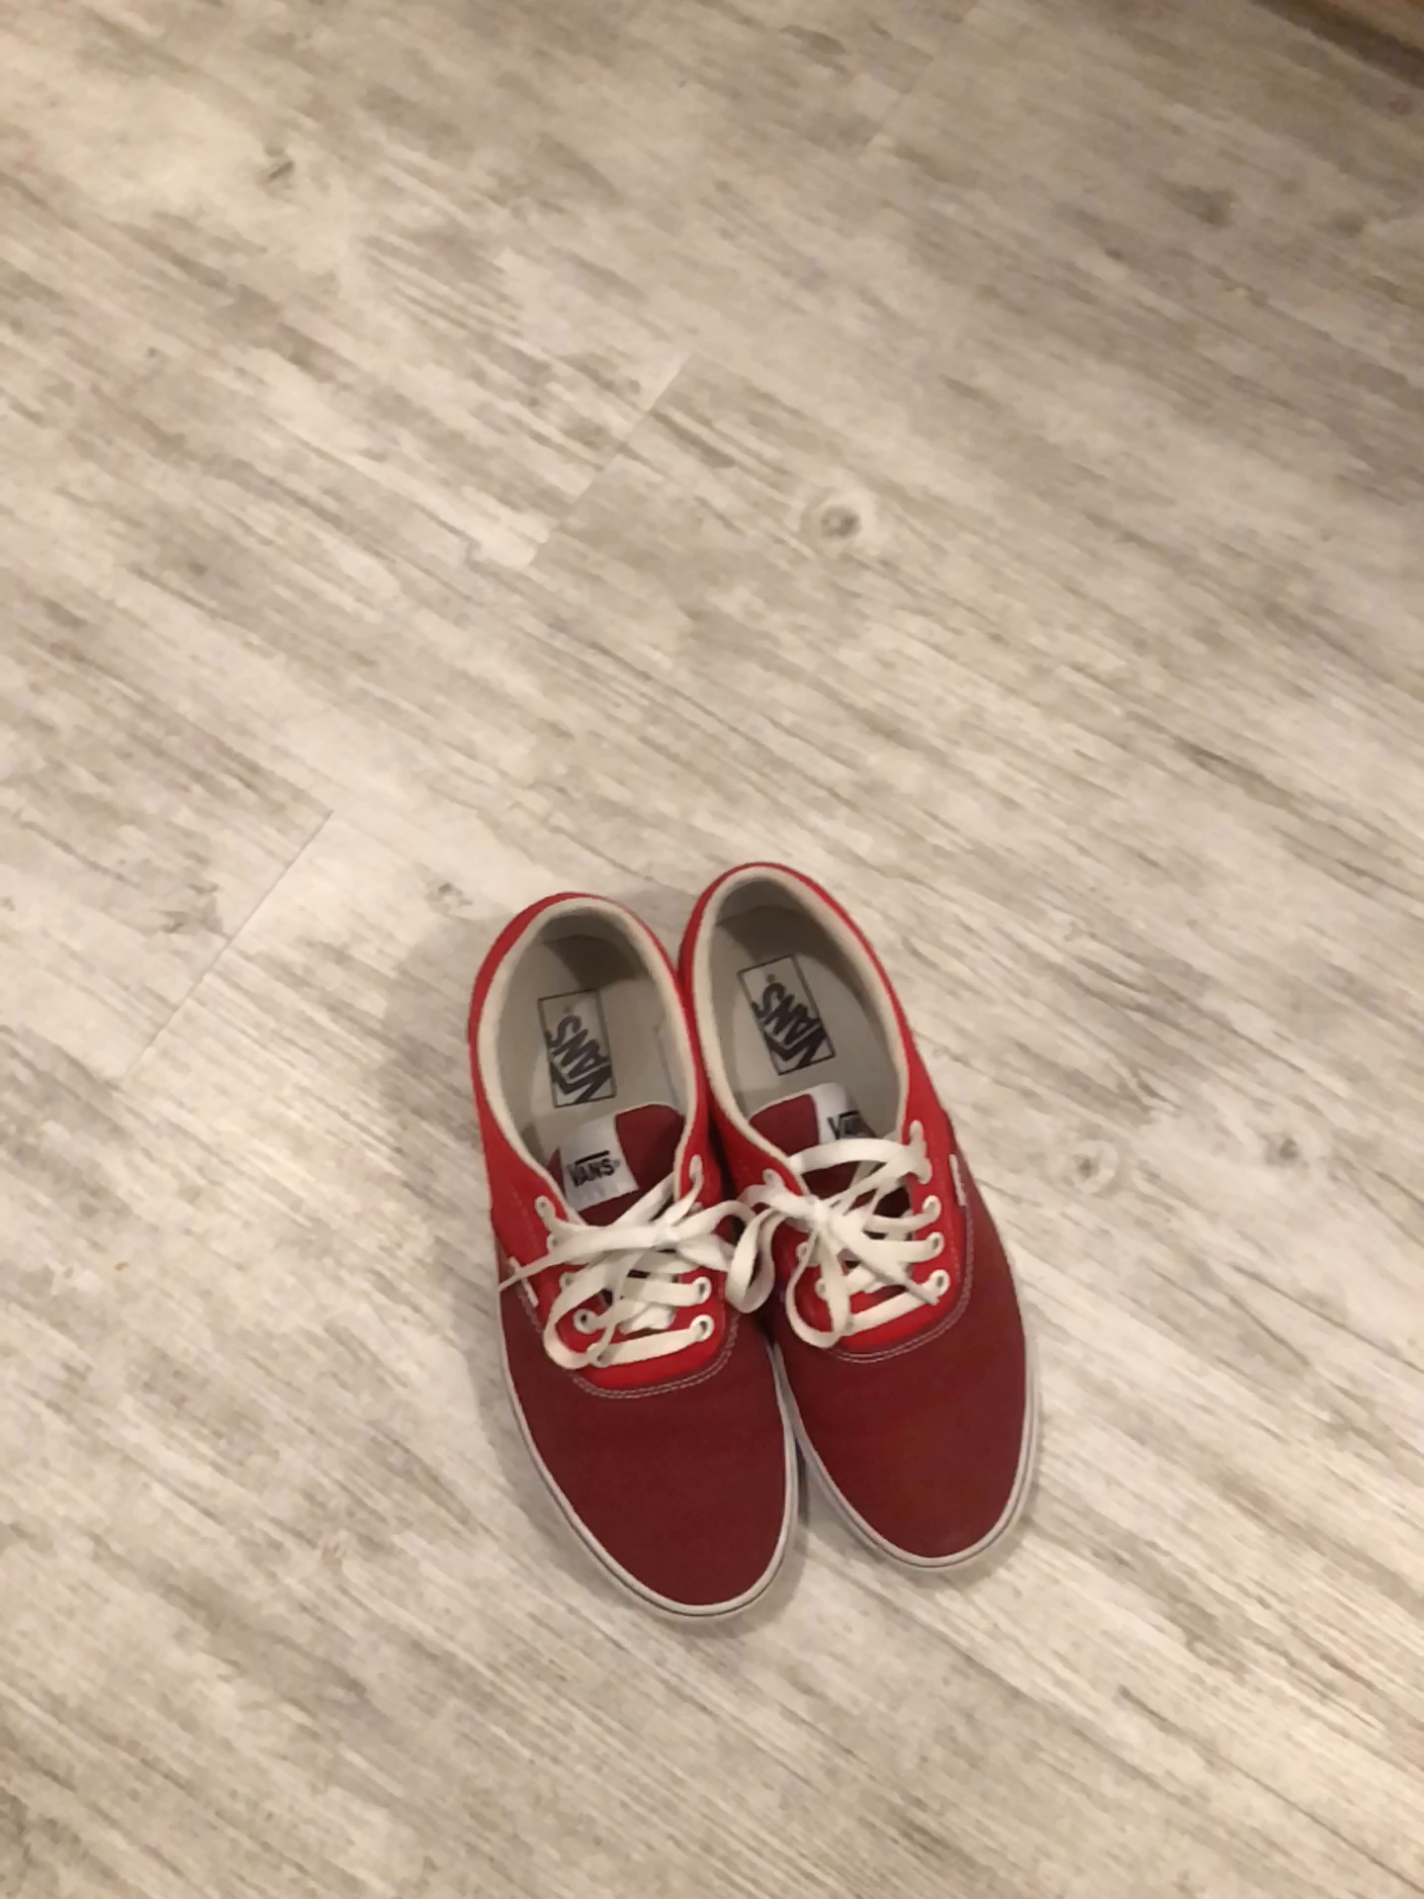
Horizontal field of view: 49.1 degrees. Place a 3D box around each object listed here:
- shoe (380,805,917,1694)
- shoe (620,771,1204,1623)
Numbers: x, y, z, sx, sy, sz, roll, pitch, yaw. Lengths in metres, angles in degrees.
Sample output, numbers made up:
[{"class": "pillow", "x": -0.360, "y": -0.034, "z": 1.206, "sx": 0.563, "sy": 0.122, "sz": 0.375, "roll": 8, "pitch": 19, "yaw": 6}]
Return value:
[{"class": "shoe", "x": -0.029, "y": 0.101, "z": 0.560, "sx": 0.110, "sy": 0.093, "sz": 0.272, "roll": -14, "pitch": 73, "yaw": -8}, {"class": "shoe", "x": 0.059, "y": 0.085, "z": 0.567, "sx": 0.110, "sy": 0.088, "sz": 0.266, "roll": -17, "pitch": 74, "yaw": -8}]
